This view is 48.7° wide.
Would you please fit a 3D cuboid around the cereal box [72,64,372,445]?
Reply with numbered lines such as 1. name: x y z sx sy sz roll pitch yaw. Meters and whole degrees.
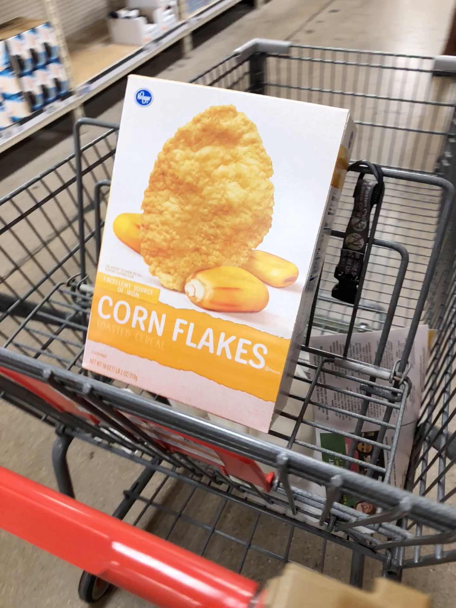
1. cereal box: -0.016 -0.052 0.492 0.230 0.300 0.080 16 14 19
